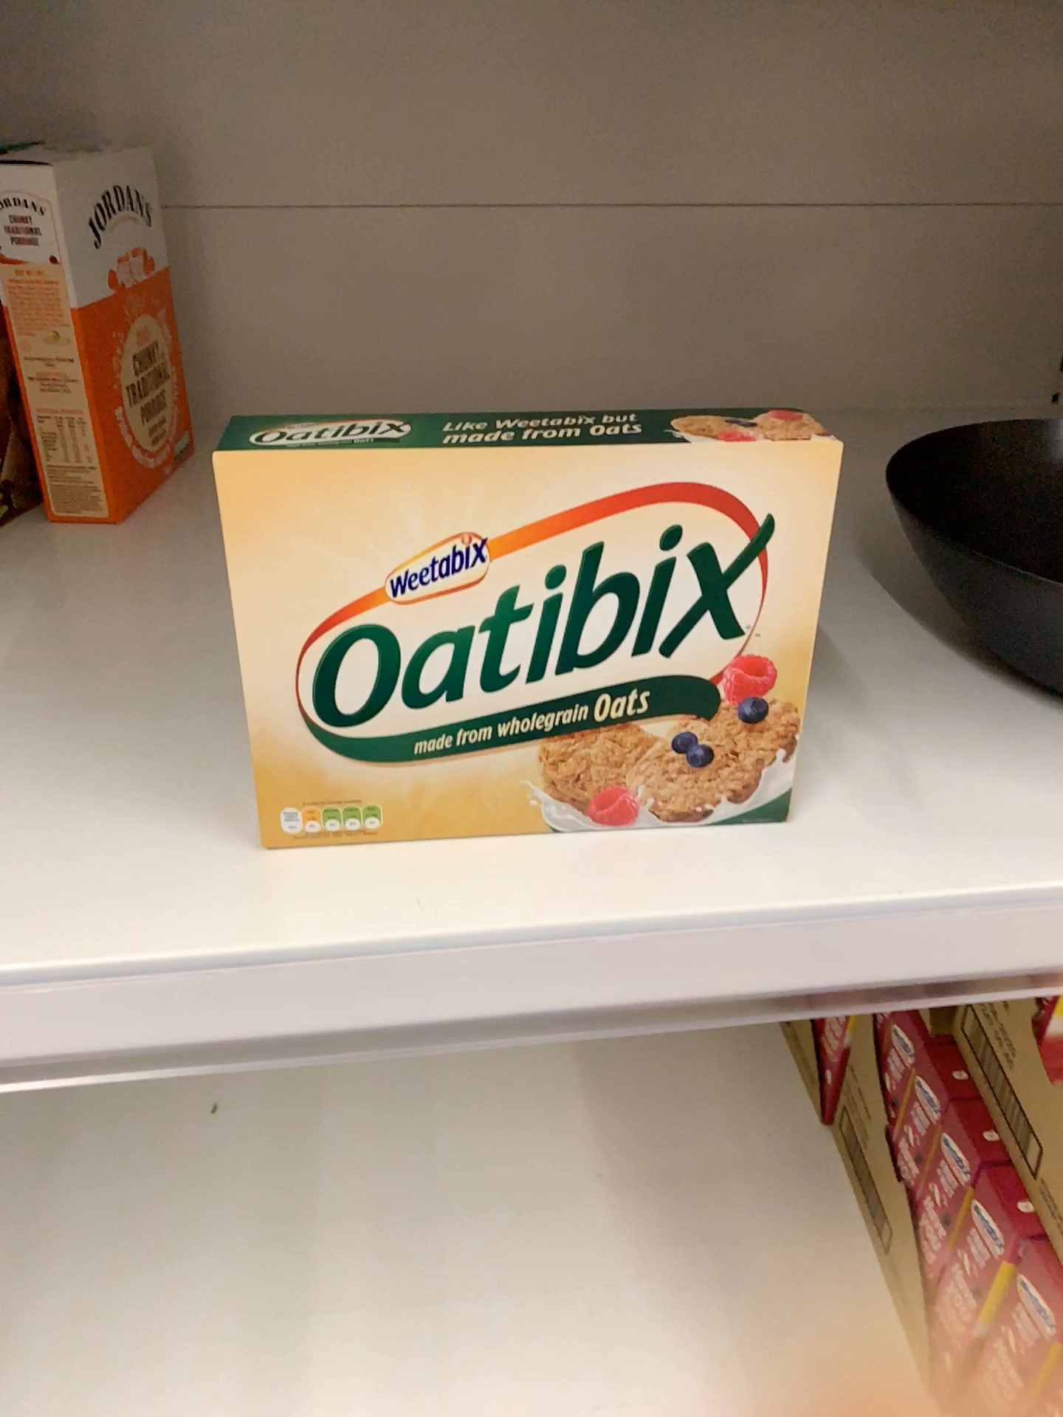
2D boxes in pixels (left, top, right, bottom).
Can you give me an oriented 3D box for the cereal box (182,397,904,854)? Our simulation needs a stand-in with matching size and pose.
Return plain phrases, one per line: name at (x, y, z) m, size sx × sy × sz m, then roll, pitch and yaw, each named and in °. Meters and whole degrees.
cereal box at (0.004, -0.036, 0.480) m, size 0.270 × 0.178 × 0.071 m, roll -2°, pitch 31°, yaw -5°
